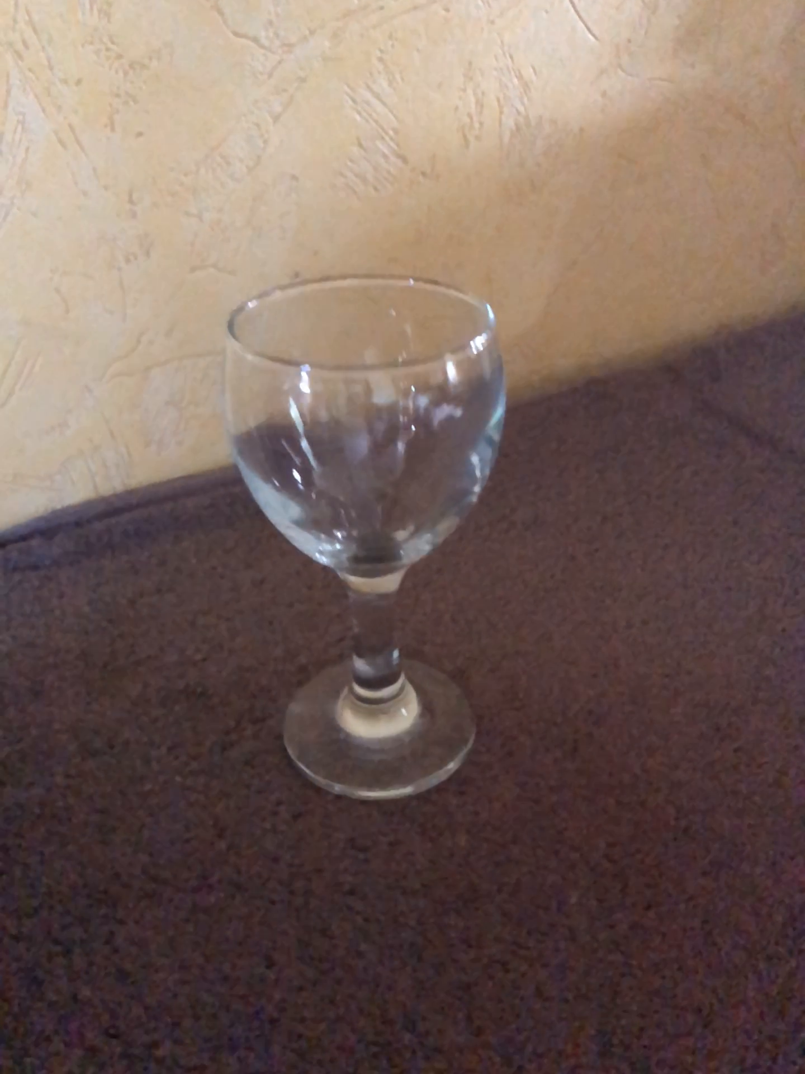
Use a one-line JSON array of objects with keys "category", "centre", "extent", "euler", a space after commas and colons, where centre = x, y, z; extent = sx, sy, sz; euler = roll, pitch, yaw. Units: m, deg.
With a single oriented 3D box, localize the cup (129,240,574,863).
[{"category": "cup", "centre": [-0.008, 0.002, 0.233], "extent": [0.070, 0.129, 0.070], "euler": [-1, 33, 1]}]
